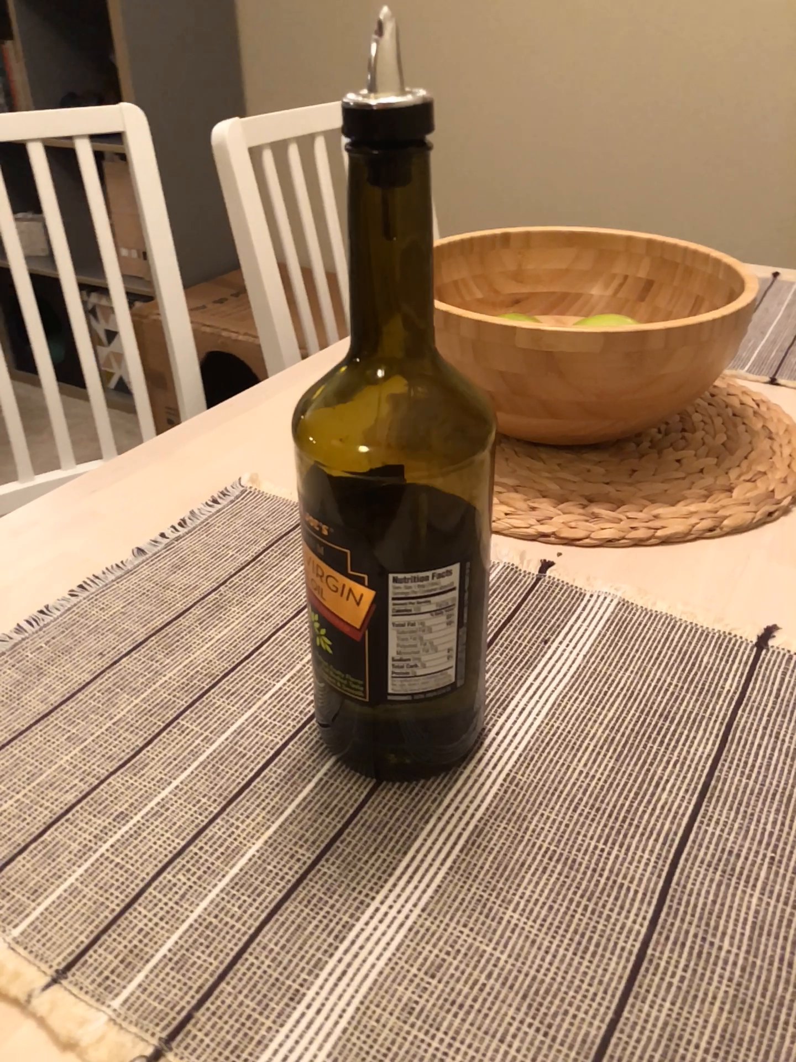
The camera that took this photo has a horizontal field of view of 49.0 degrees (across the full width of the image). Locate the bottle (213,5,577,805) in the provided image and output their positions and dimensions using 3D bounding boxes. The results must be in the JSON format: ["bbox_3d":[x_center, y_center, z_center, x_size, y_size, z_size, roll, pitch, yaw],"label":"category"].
[{"bbox_3d":[-0.005,-0.039,0.360,0.094,0.304,0.091,0,31,0],"label":"bottle"}]
